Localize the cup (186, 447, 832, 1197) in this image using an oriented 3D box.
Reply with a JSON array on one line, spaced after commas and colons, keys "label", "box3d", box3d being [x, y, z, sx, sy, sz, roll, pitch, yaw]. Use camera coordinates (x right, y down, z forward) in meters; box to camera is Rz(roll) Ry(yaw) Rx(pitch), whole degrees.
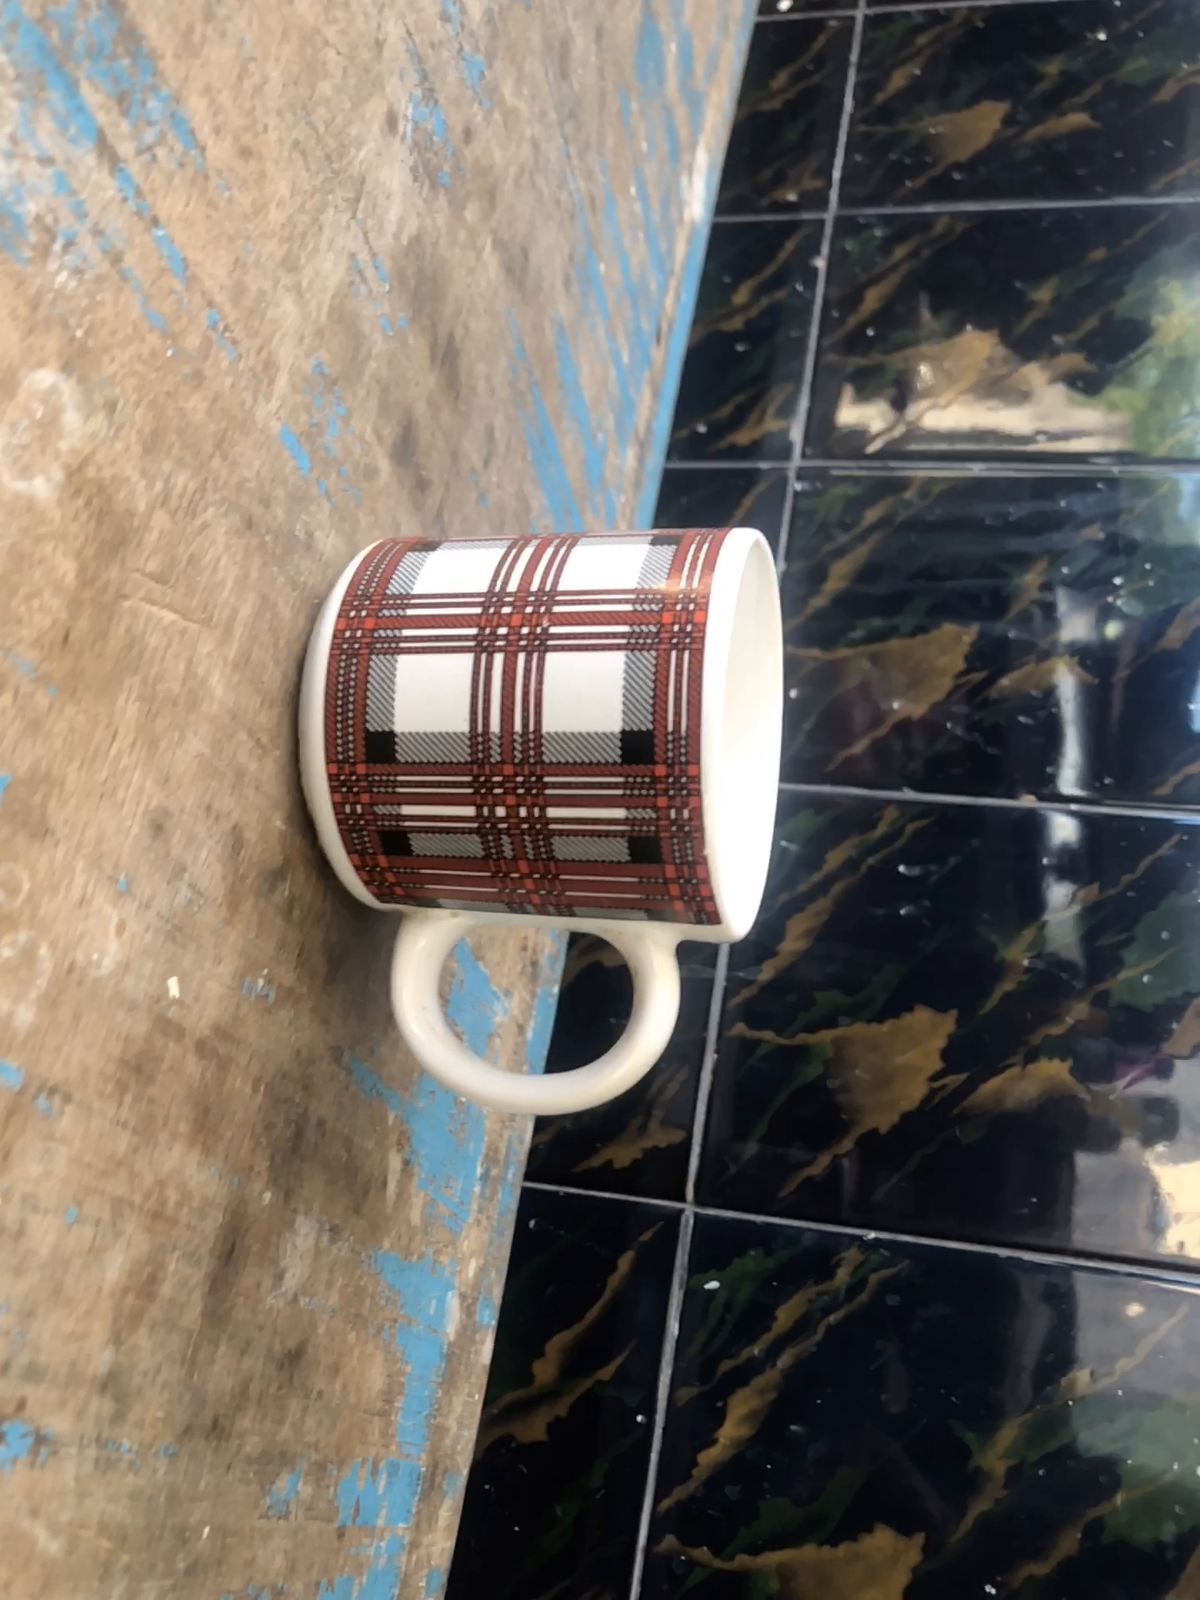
[{"label": "cup", "box3d": [-0.007, 0.004, 0.231, 0.060, 0.080, 0.110, 60, 36, -65]}]
